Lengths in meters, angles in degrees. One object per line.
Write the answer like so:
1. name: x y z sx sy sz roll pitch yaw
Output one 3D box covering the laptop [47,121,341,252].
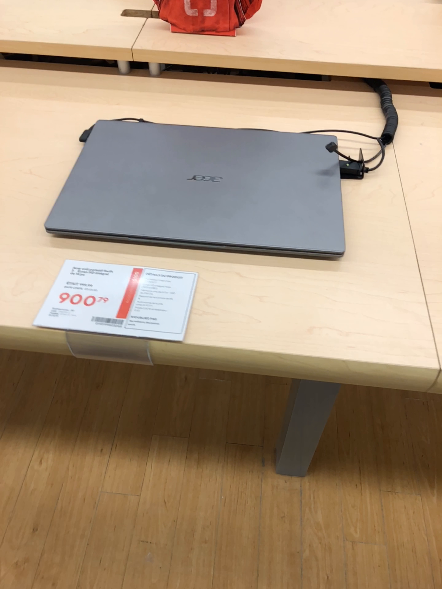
1. laptop: -0.020 -0.136 0.564 0.306 0.001 0.201 6 50 4
